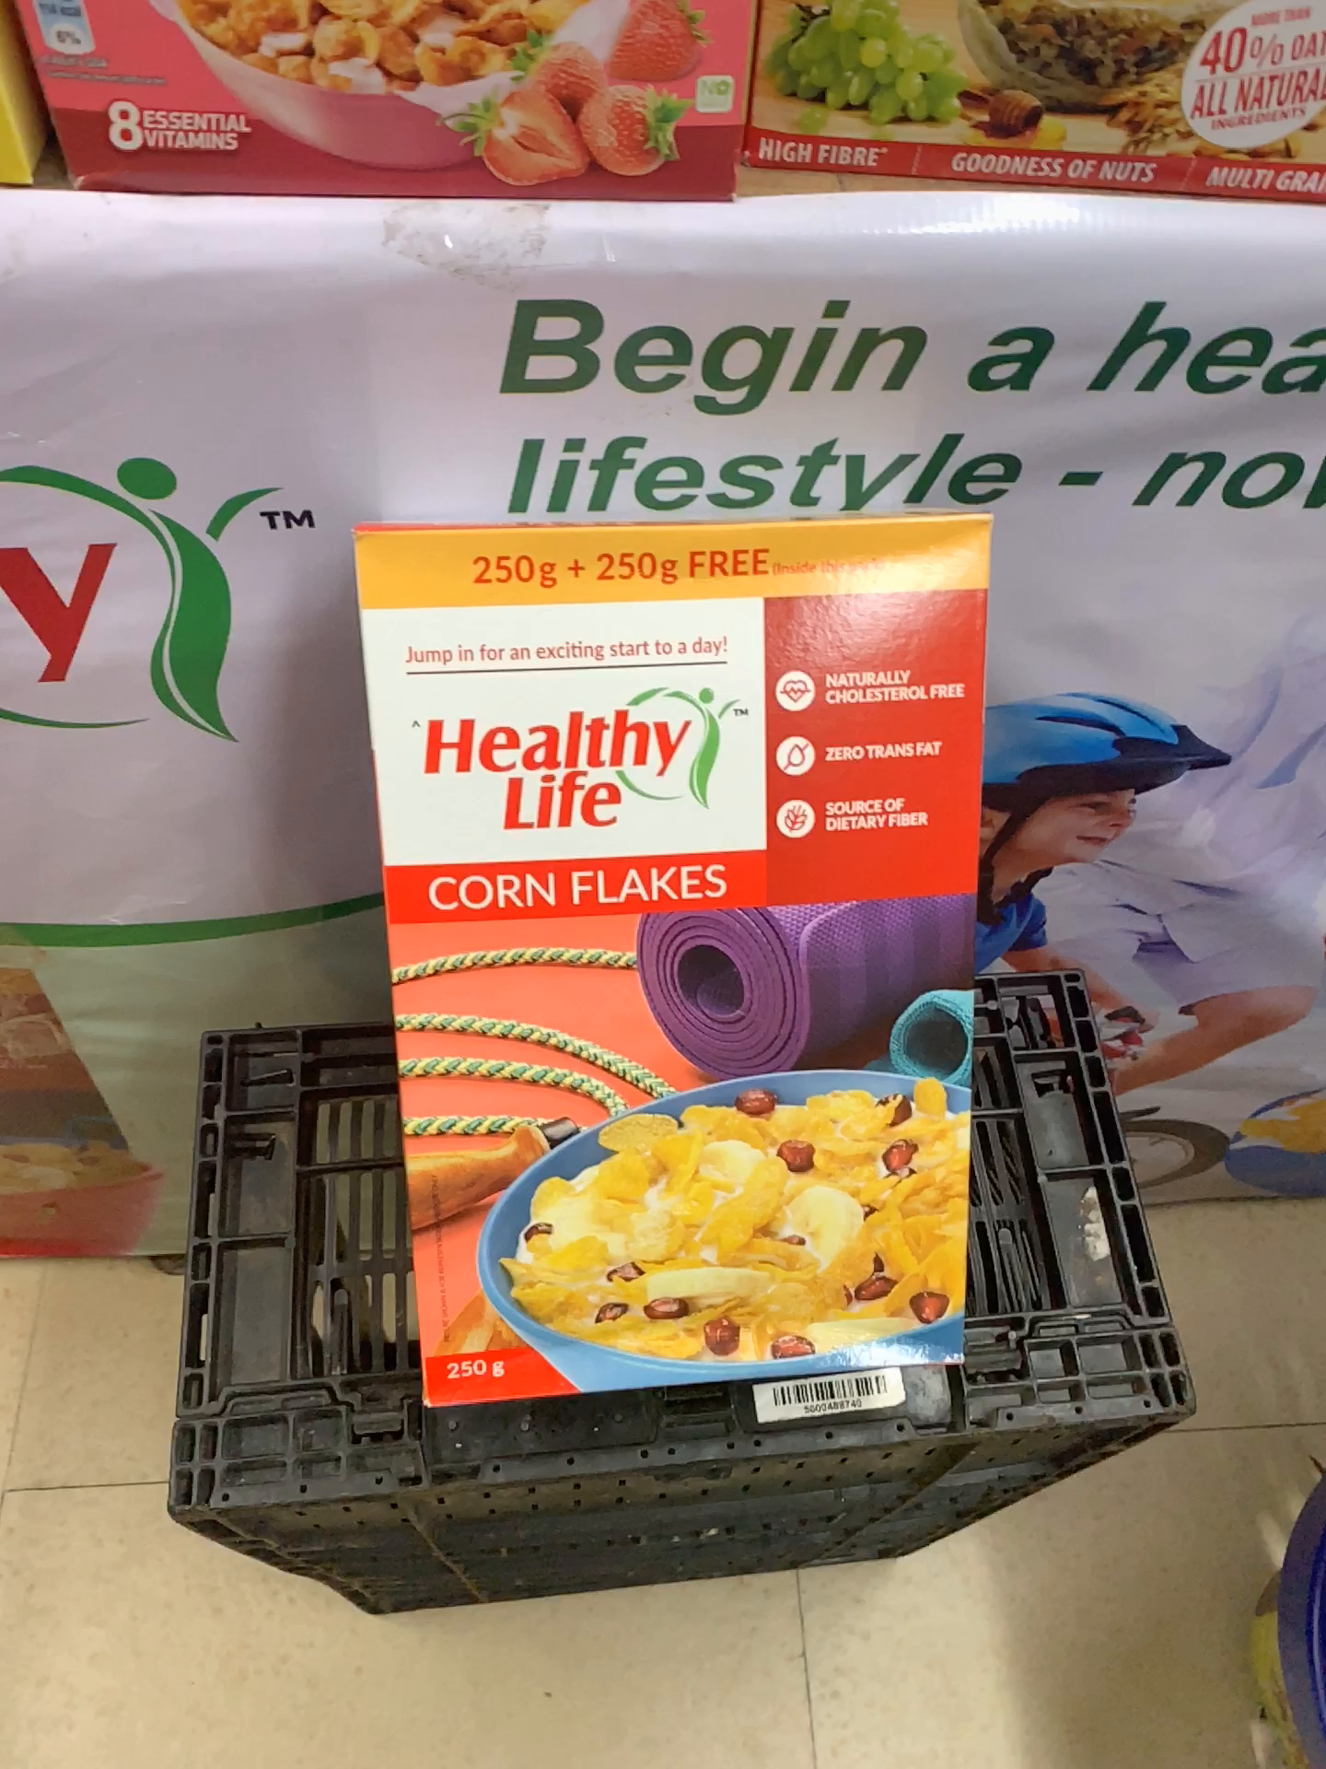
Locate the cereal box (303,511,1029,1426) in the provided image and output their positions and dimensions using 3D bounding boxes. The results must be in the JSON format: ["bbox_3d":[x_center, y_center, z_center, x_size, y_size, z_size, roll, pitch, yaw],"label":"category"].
[{"bbox_3d":[0.002,0.023,0.453,0.200,0.280,0.090,-3,15,-5],"label":"cereal box"}]
